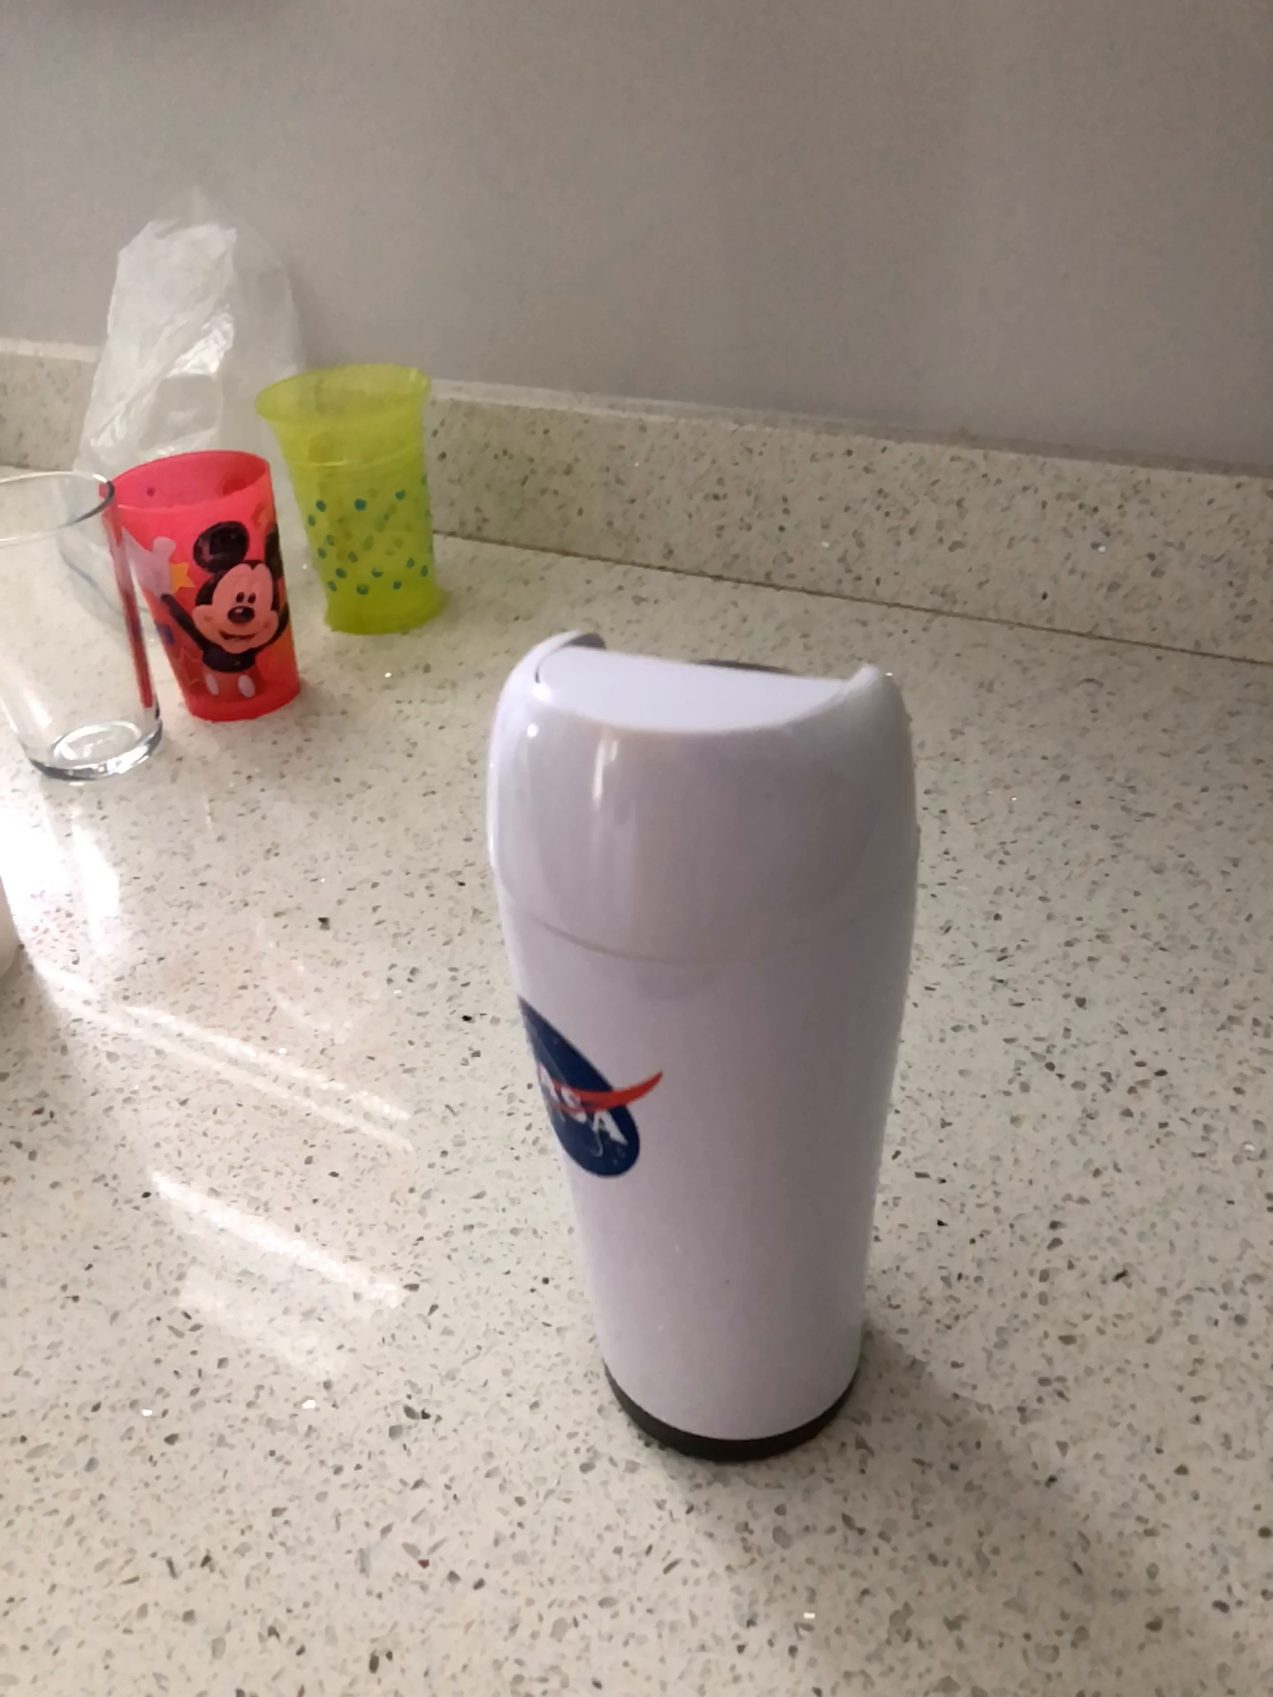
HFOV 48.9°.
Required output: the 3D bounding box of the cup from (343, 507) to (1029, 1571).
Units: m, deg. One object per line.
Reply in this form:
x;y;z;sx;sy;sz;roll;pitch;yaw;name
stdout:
0.013;0.041;0.278;0.080;0.182;0.078;-4;35;3;cup
